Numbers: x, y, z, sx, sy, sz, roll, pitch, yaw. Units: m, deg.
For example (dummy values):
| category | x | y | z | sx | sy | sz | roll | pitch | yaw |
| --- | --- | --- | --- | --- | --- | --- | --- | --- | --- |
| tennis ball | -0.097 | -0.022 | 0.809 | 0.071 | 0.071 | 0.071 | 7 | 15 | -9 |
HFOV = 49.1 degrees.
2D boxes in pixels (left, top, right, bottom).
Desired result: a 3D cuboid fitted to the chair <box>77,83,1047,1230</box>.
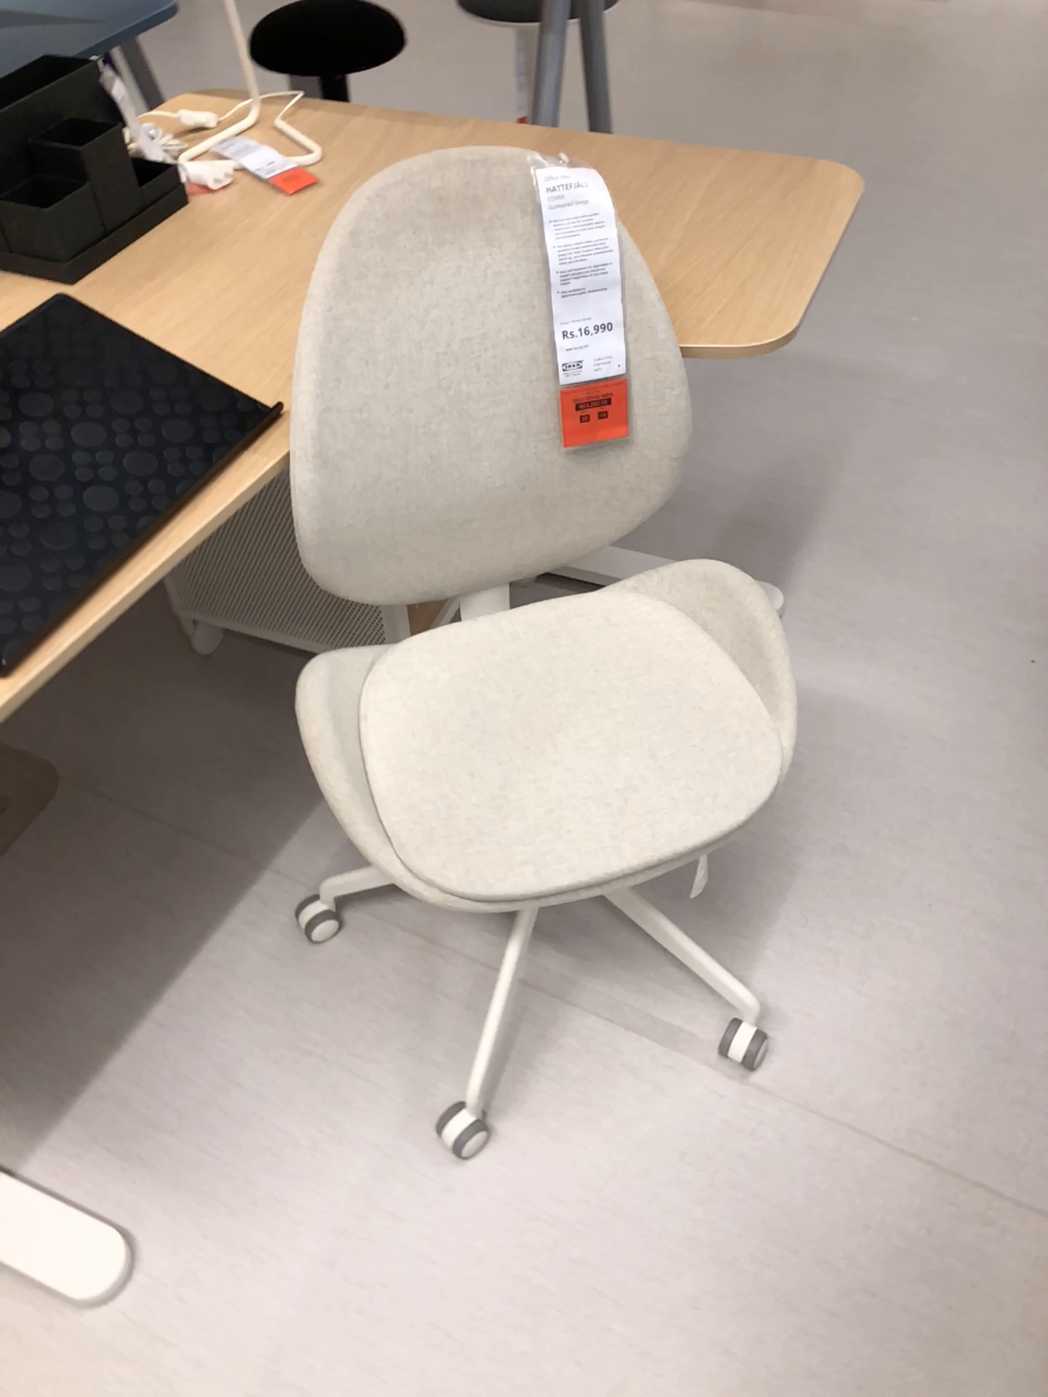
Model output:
| category | x | y | z | sx | sy | sz | roll | pitch | yaw |
| --- | --- | --- | --- | --- | --- | --- | --- | --- | --- |
| chair | 0.020 | -0.005 | 1.292 | 0.660 | 0.994 | 0.624 | -16 | 48 | -13 |
